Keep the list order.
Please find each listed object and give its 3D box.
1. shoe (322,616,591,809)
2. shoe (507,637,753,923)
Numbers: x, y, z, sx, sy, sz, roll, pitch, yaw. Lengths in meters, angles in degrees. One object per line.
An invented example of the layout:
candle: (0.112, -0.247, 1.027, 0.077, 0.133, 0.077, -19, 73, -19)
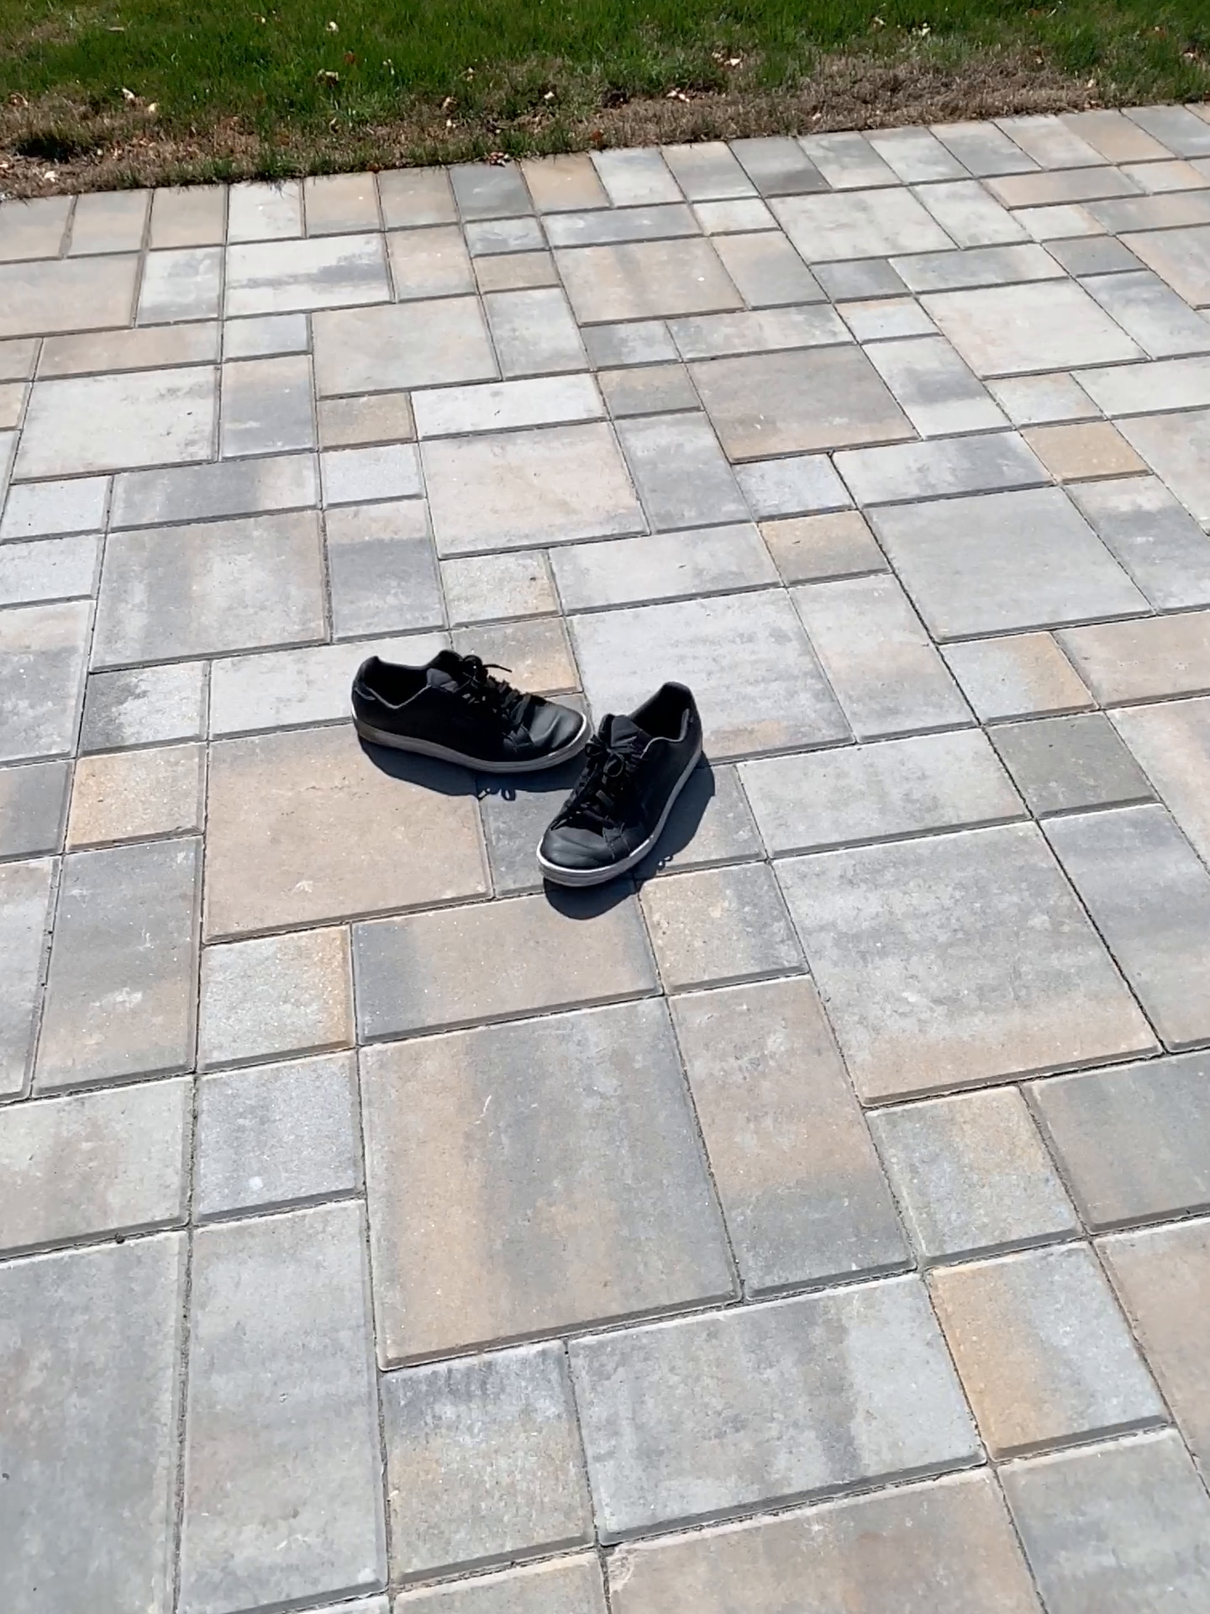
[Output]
shoe: (-0.151, -0.101, 1.301, 0.250, 0.109, 0.110, 13, 49, 12)
shoe: (0.030, -0.035, 1.229, 0.110, 0.100, 0.281, 24, 52, 21)
